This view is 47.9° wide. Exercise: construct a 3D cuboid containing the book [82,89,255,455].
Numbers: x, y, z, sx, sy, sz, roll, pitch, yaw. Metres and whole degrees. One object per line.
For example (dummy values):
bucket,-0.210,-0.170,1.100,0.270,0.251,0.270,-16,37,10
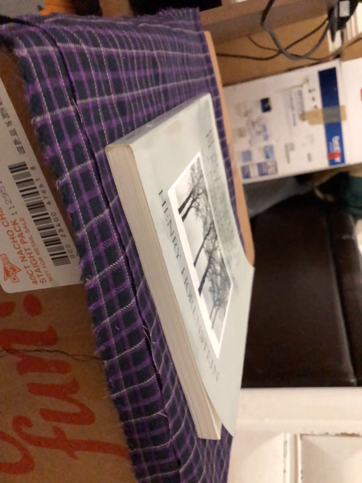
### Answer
book,0.020,-0.004,0.345,0.251,0.030,0.210,-62,140,-61
